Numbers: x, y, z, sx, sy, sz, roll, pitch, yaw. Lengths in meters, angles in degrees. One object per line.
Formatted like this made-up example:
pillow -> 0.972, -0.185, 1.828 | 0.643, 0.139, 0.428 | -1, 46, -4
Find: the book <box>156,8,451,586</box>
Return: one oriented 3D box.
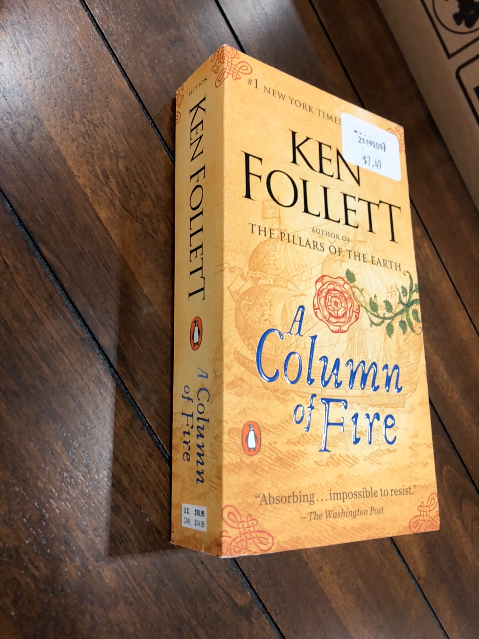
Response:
book -> 0.027, -0.009, 0.221 | 0.110, 0.040, 0.195 | 9, 73, -35
